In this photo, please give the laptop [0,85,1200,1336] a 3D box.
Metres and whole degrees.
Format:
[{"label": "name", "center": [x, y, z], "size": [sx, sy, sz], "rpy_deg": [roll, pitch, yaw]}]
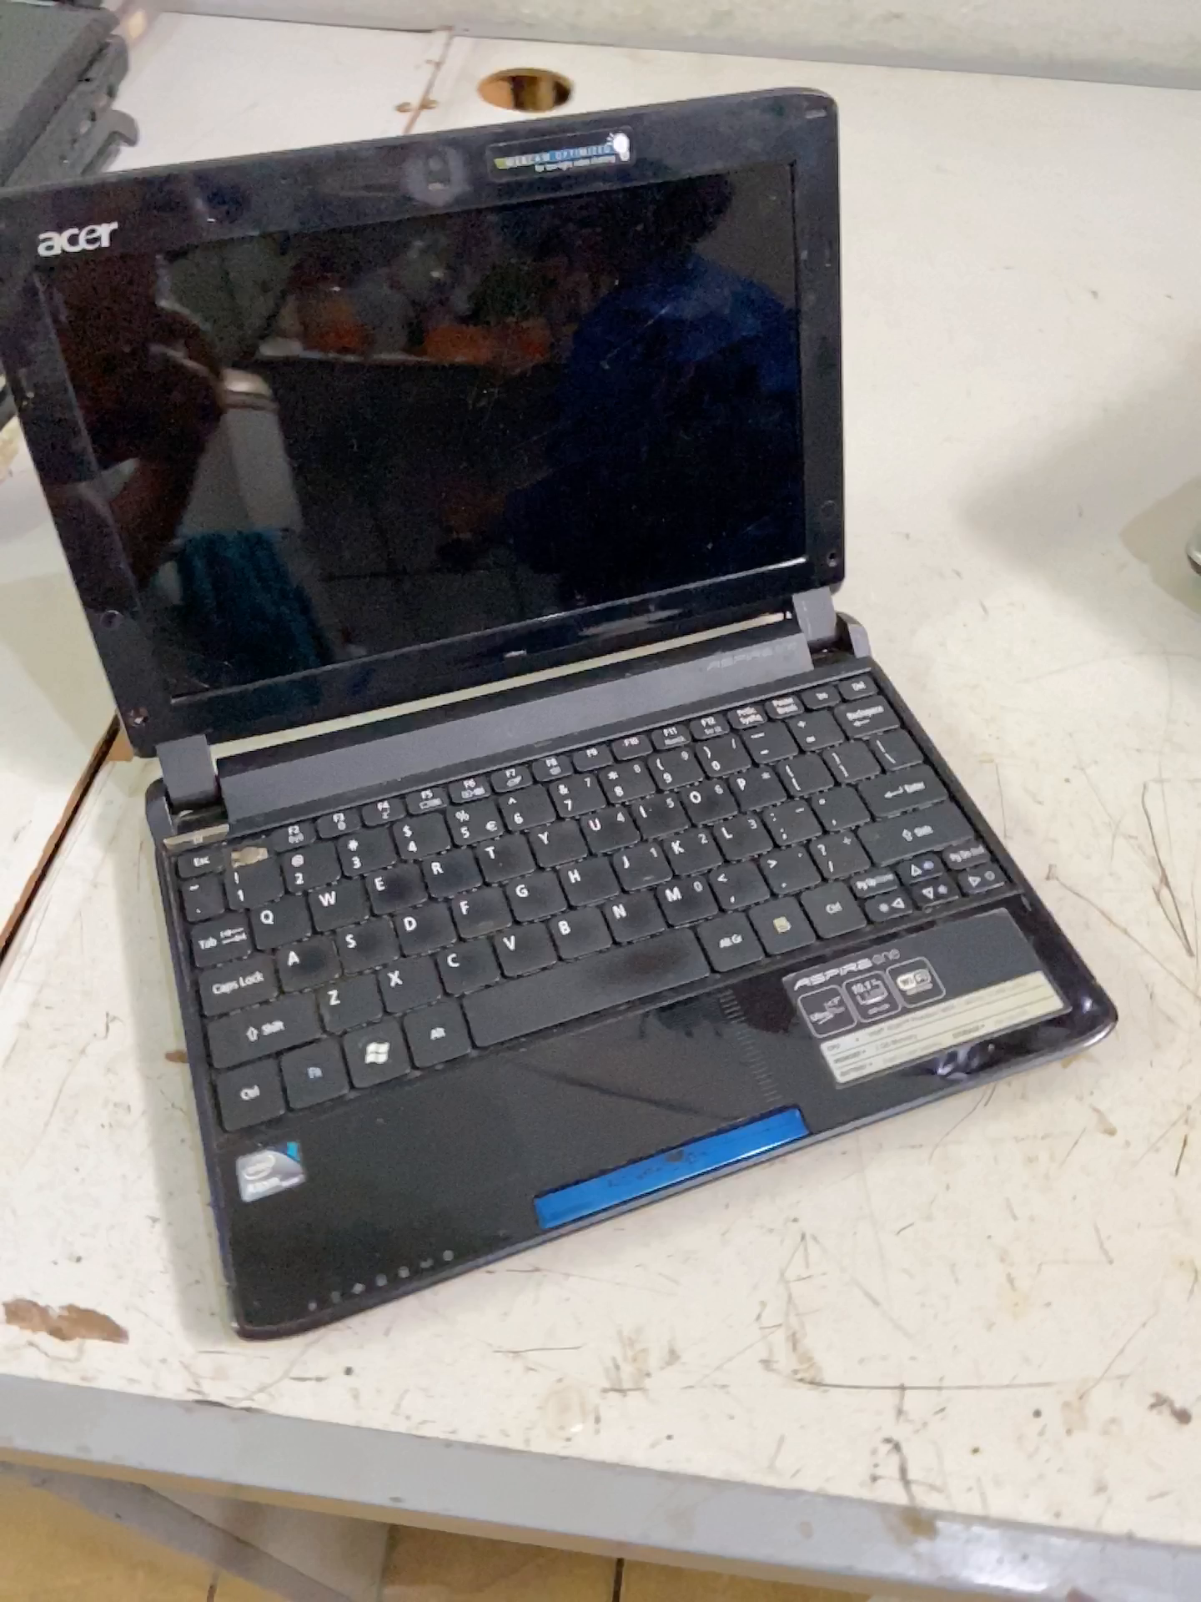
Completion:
[{"label": "laptop", "center": [-0.010, -0.046, 0.342], "size": [0.253, 0.144, 0.260], "rpy_deg": [-15, 56, -13]}]
